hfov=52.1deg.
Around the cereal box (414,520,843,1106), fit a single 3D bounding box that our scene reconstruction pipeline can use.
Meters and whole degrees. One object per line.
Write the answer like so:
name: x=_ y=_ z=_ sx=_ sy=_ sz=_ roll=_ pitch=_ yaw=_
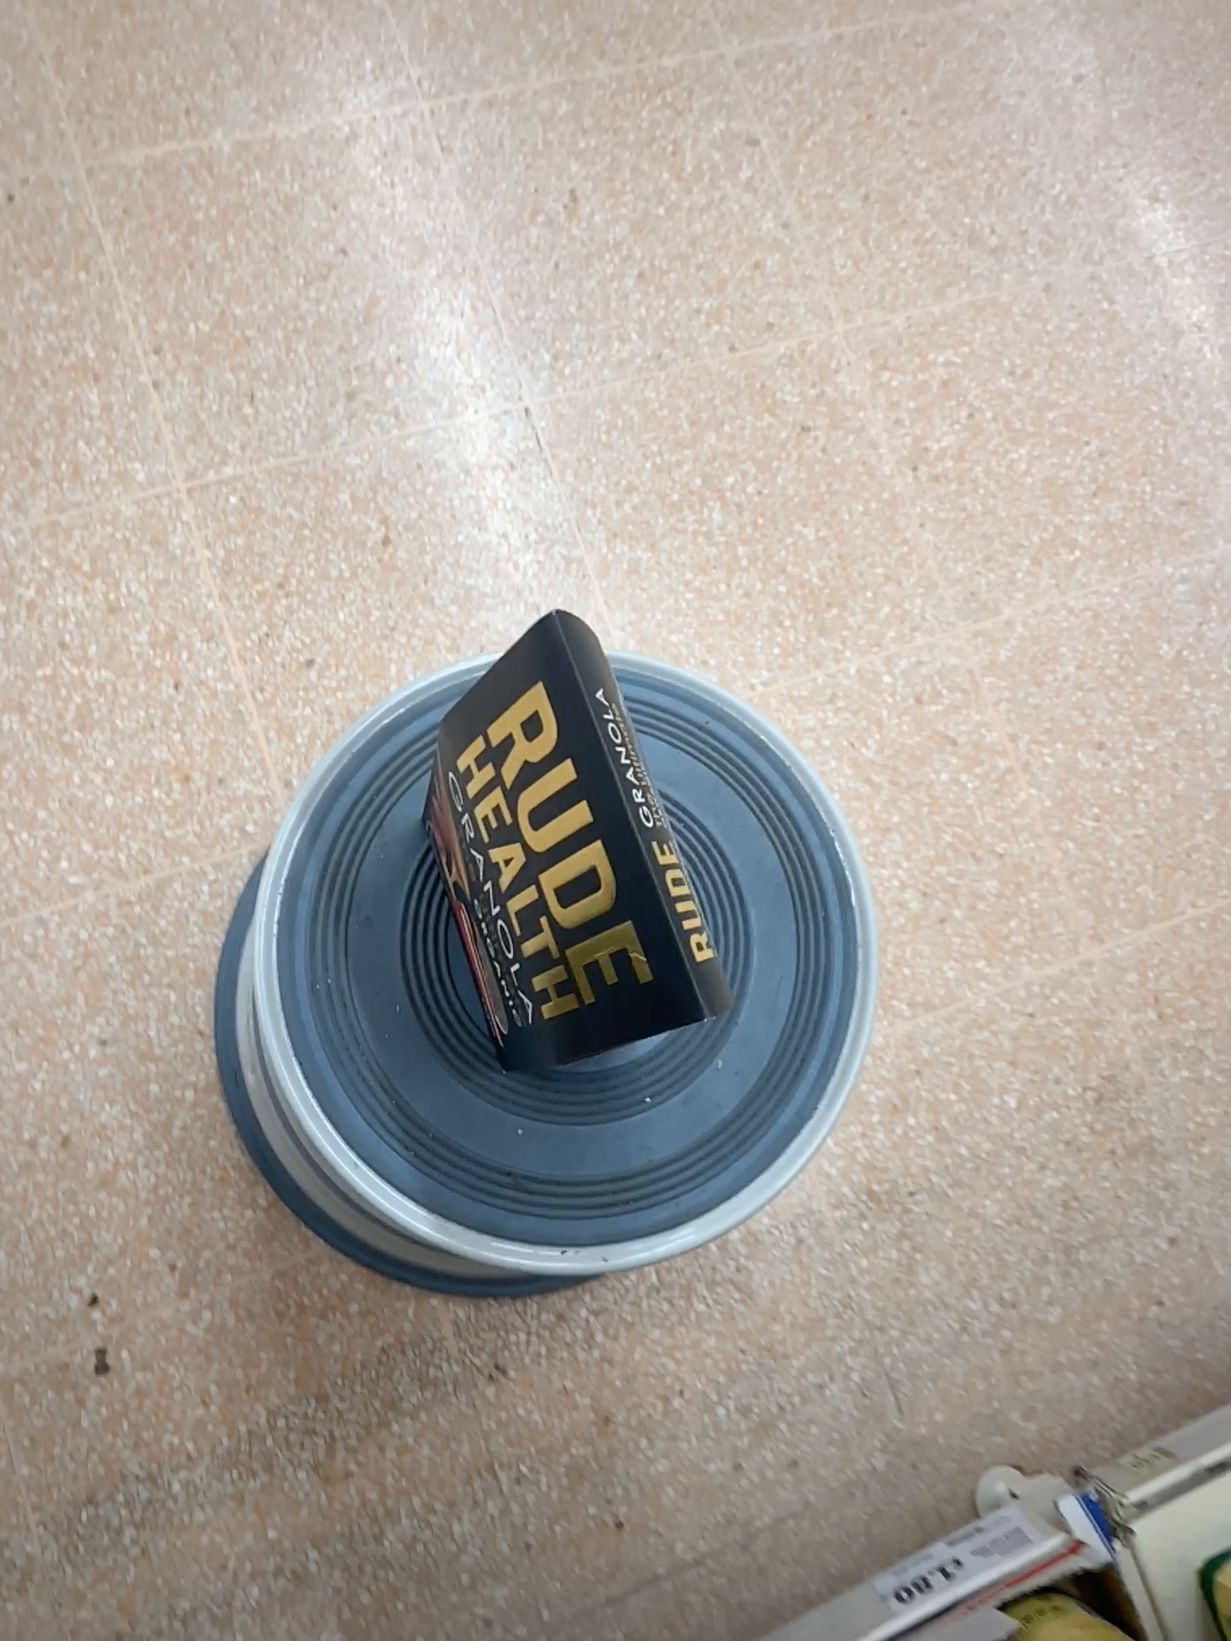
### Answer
cereal box: x=-0.017 y=0.019 z=0.451 sx=0.070 sy=0.259 sz=0.140 roll=-17 pitch=82 yaw=-12
